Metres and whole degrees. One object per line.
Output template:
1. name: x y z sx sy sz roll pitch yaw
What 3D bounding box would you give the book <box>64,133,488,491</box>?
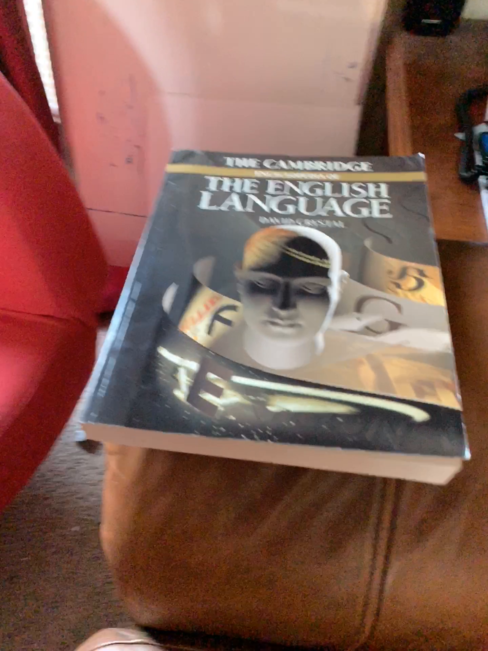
1. book: 0.037 -0.038 0.374 0.240 0.050 0.281 5 52 5
